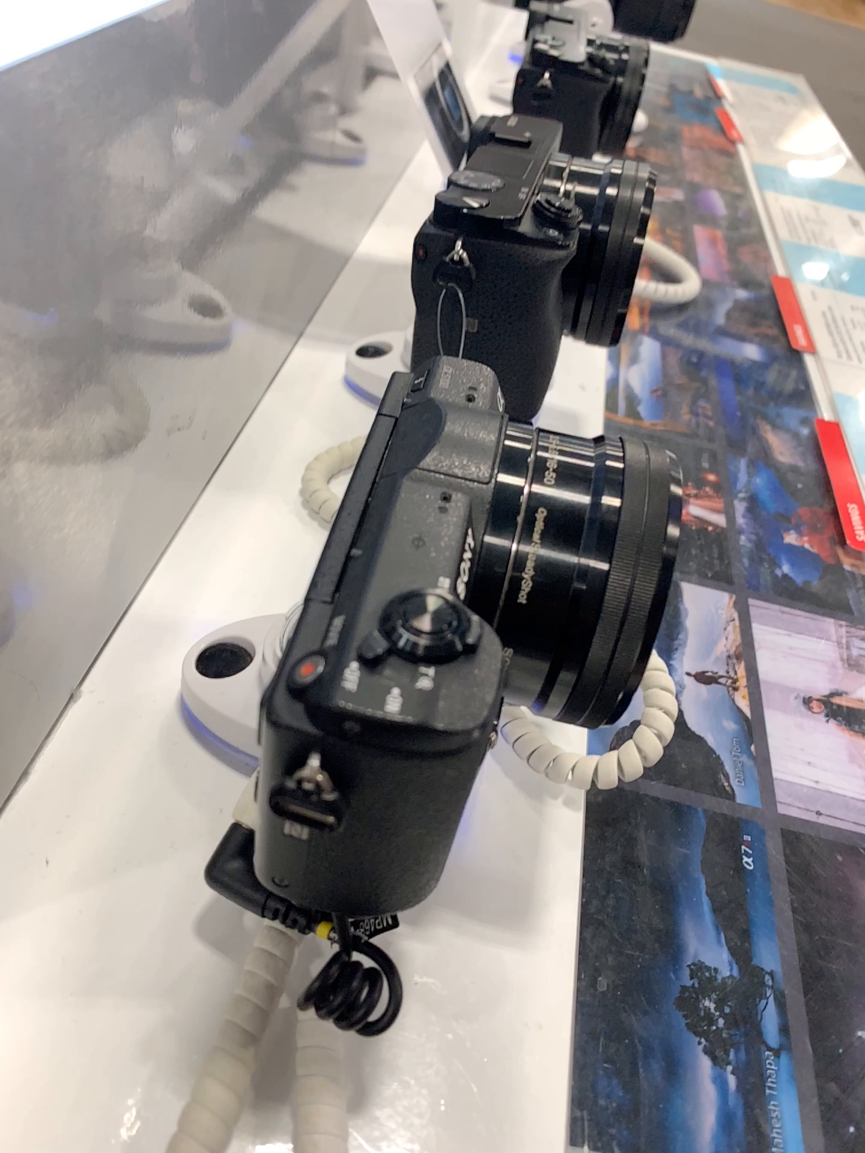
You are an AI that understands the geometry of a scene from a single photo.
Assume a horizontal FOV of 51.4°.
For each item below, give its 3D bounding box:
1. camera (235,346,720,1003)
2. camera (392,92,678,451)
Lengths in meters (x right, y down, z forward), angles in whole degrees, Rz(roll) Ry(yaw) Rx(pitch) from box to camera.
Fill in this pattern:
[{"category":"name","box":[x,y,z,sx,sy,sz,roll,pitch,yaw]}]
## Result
[{"category":"camera","box":[0.010,0.012,0.187,0.066,0.060,0.113,13,41,-2]},{"category":"camera","box":[0.040,-0.111,0.307,0.071,0.060,0.137,13,41,5]}]
